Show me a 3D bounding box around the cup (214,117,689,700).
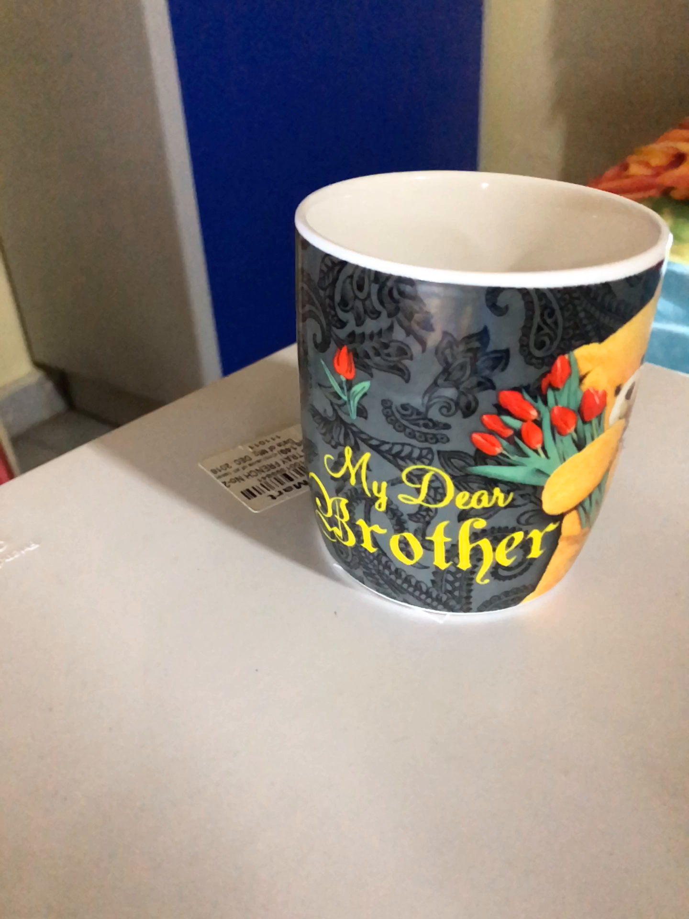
[{"bbox_3d":[0.047,-0.028,0.211,0.080,0.099,0.131,23,40,36],"label":"cup"}]
